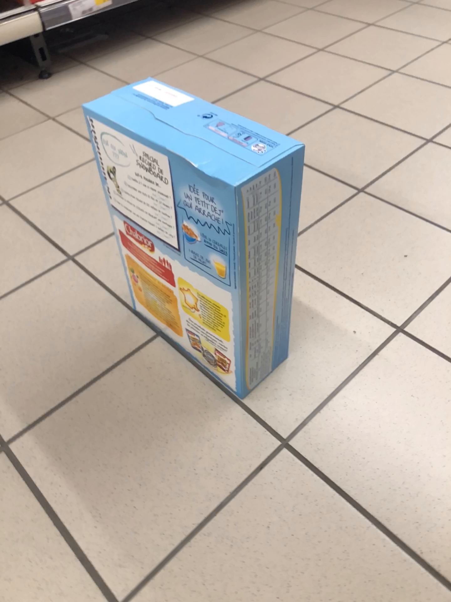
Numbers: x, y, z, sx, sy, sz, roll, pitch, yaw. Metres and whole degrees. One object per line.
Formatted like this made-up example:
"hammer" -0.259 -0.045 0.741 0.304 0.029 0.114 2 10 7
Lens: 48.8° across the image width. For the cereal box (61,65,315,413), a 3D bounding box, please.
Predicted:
"cereal box" -0.033 -0.053 0.486 0.090 0.268 0.200 -36 54 -28
